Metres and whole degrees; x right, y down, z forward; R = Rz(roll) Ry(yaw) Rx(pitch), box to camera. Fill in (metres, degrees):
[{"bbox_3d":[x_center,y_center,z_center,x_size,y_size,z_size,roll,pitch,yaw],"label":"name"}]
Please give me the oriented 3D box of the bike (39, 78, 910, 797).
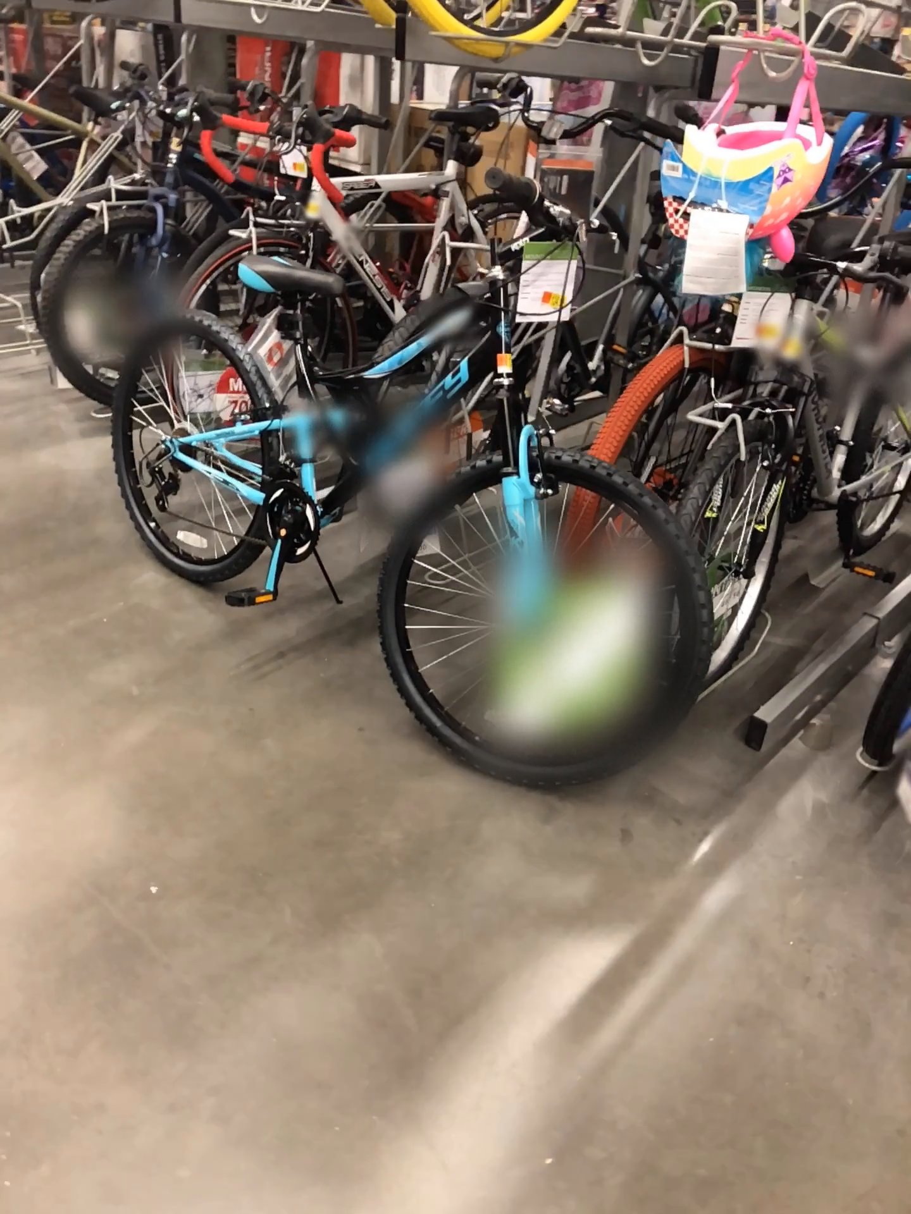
[{"bbox_3d":[-0.064,-0.484,2.217,1.708,1.121,0.545,23,36,30],"label":"bike"}]
